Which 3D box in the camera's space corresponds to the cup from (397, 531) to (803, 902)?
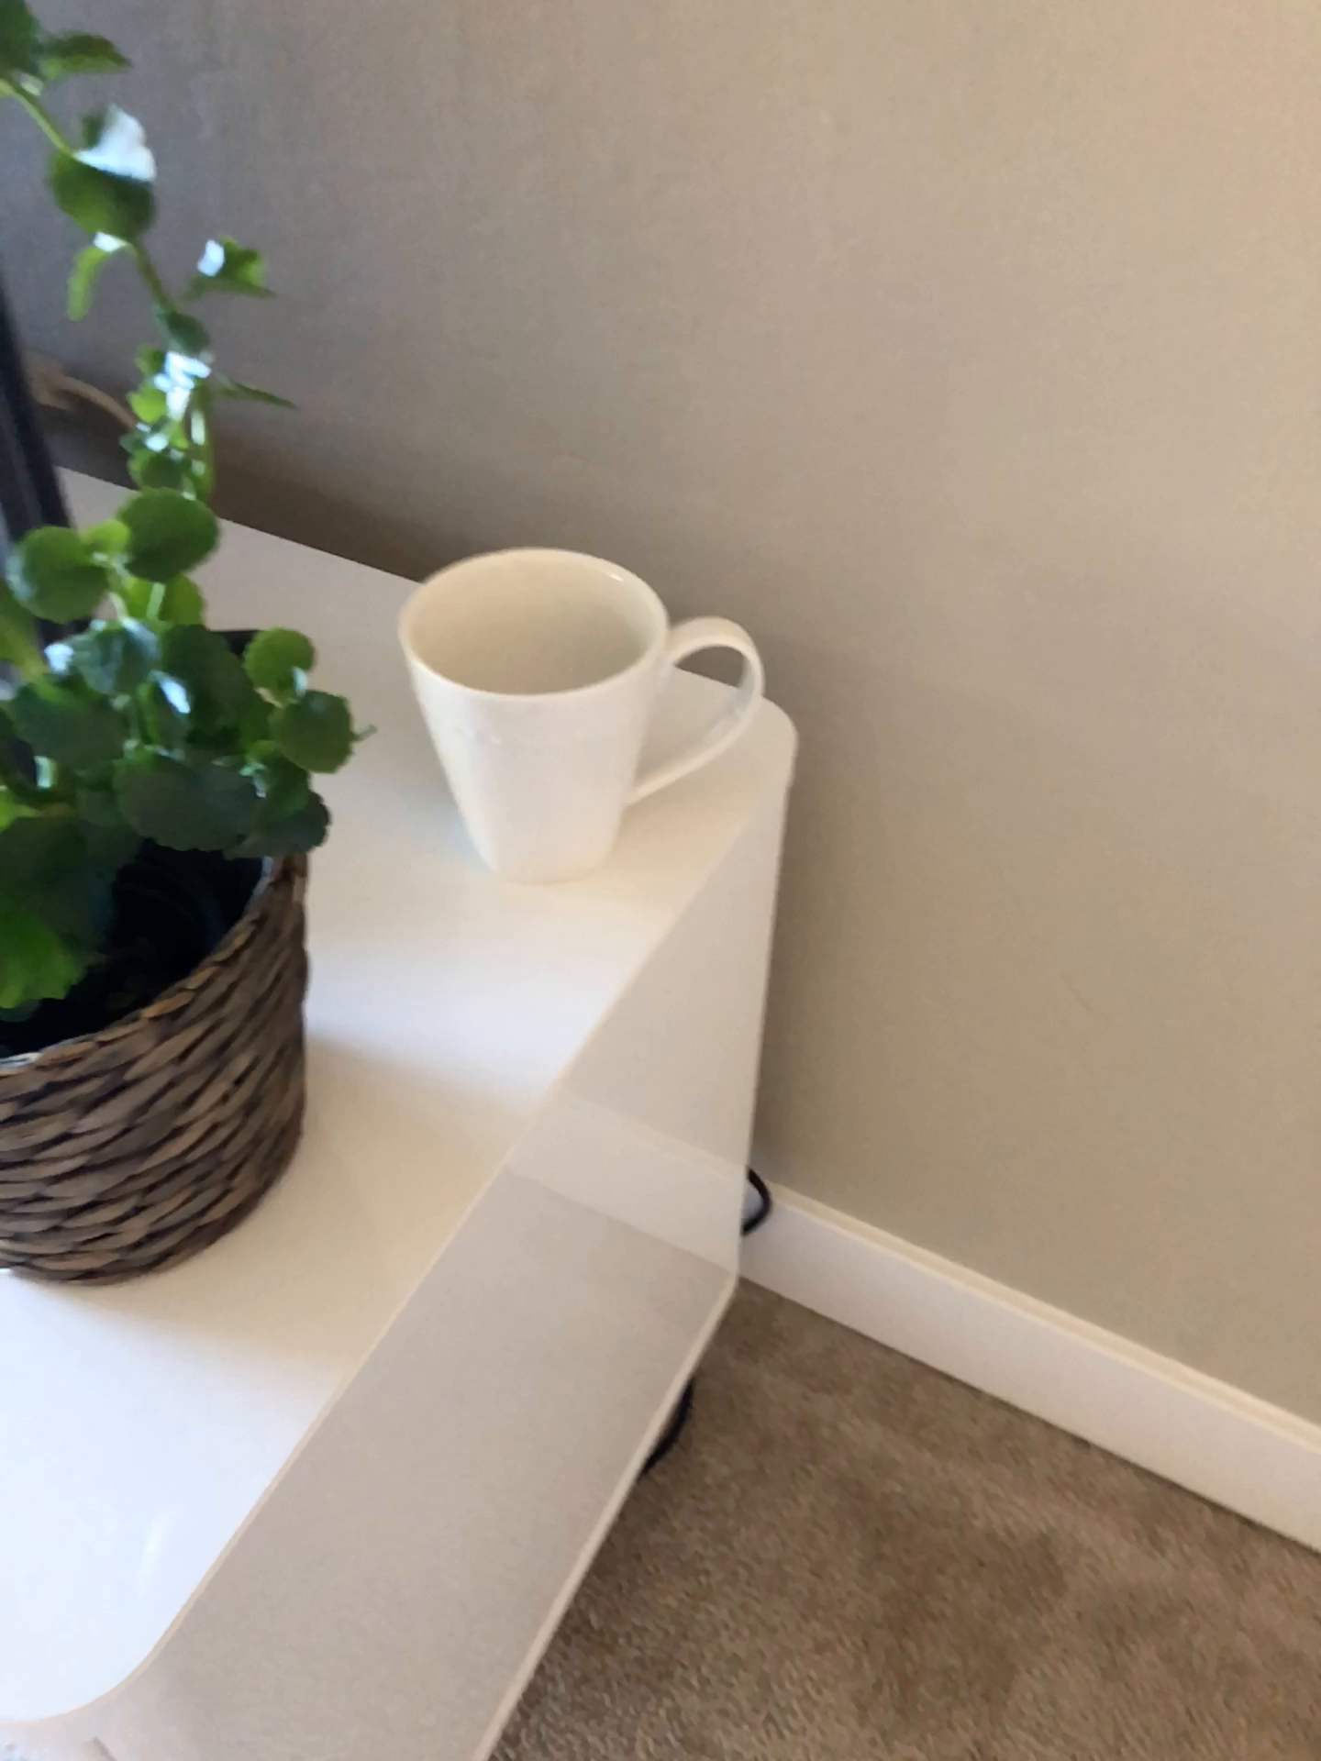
[{"bbox_3d":[-0.025,-0.062,0.541,0.130,0.090,0.090,-6,44,-8],"label":"cup"}]
